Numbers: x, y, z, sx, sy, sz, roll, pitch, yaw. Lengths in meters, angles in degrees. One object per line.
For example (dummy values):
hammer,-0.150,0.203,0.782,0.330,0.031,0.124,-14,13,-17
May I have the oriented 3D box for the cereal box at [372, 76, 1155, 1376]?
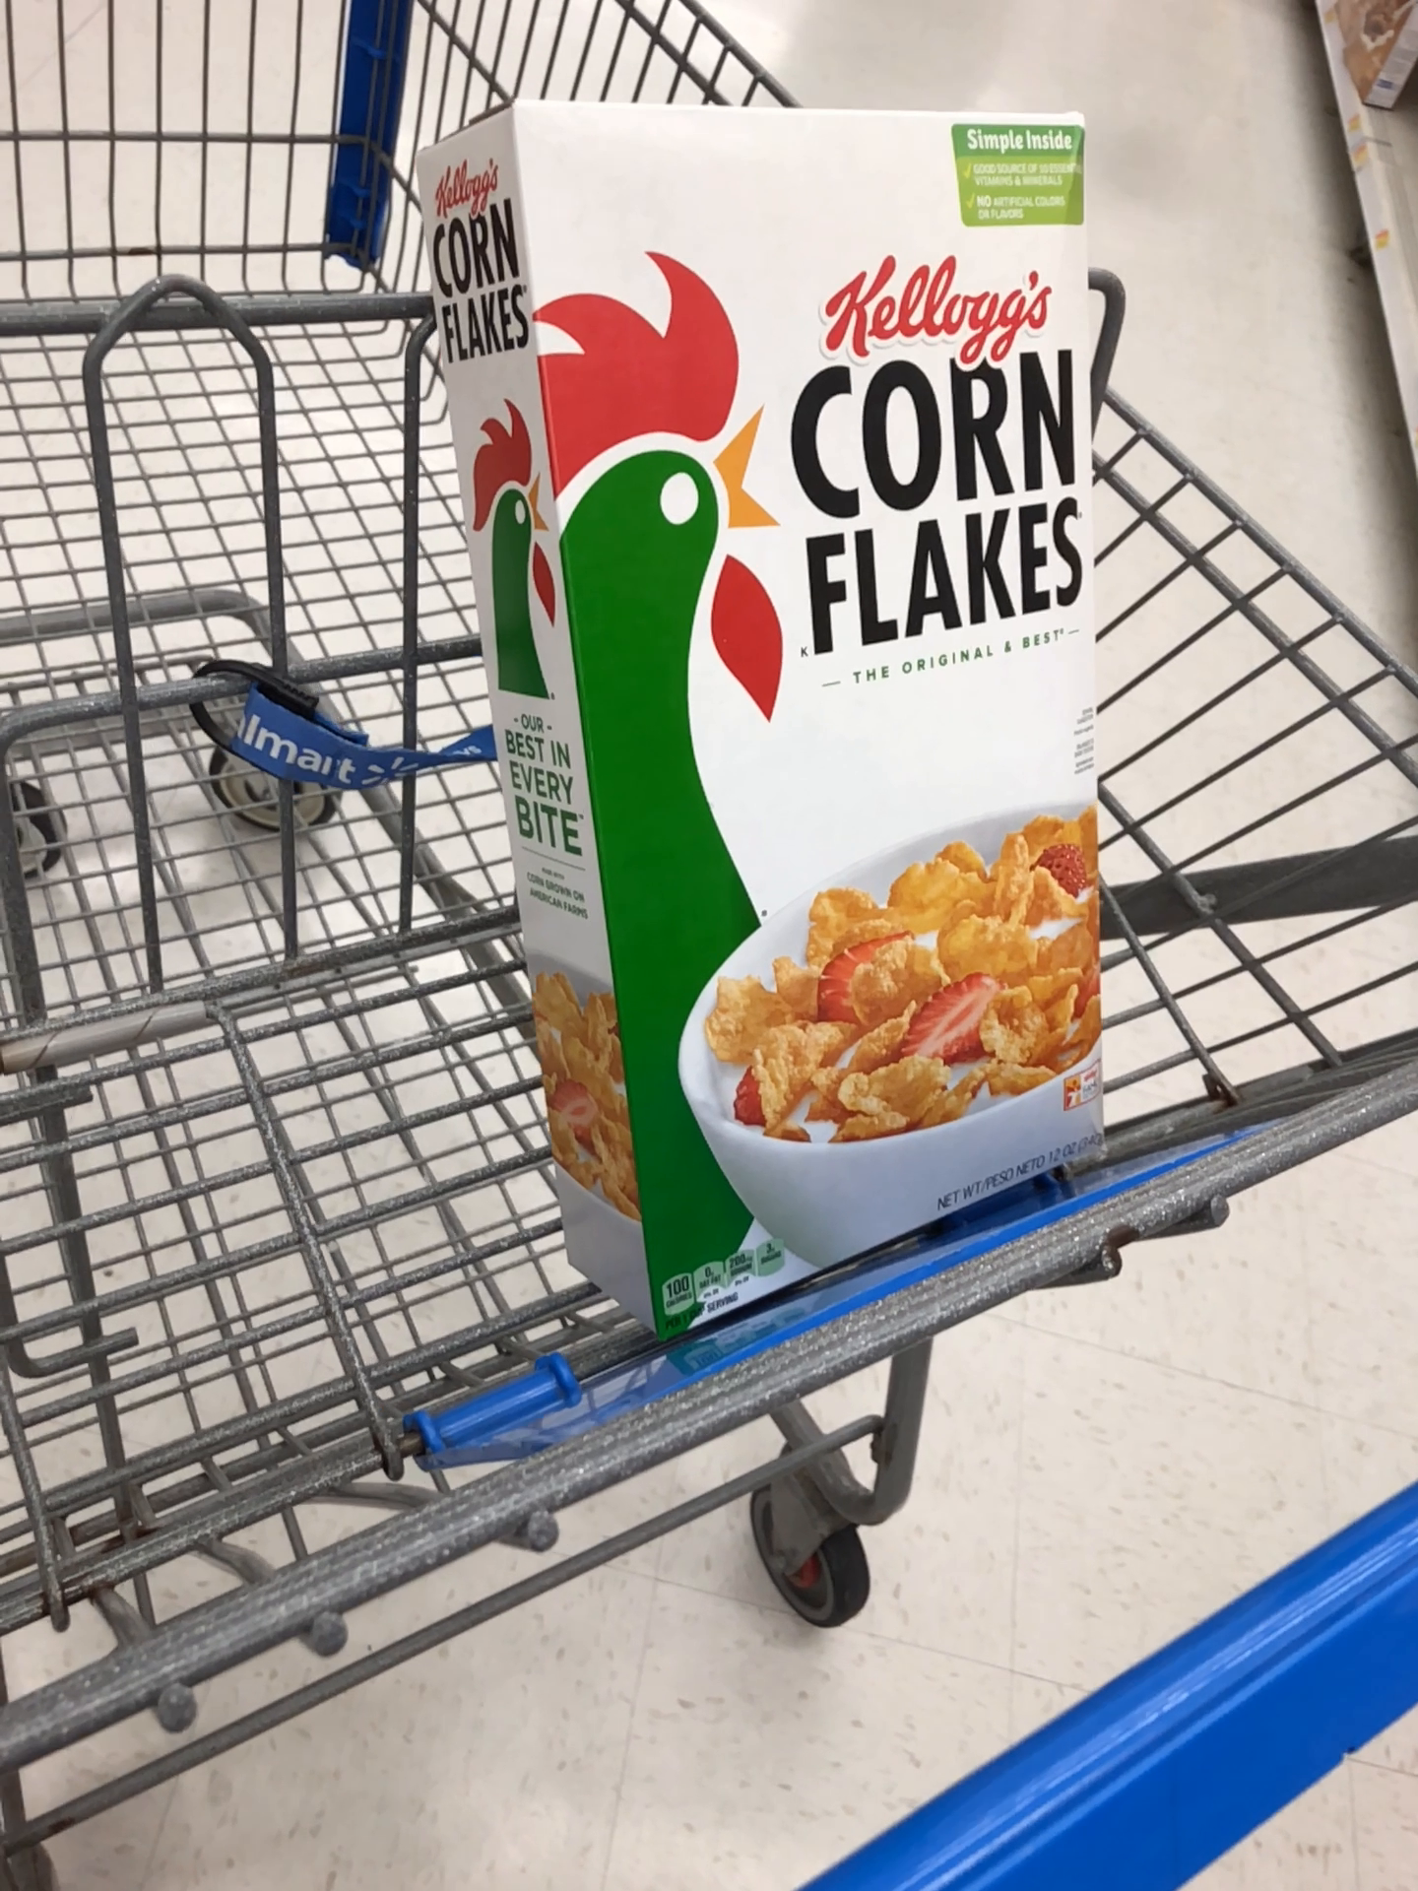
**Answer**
cereal box,0.036,-0.069,0.485,0.210,0.340,0.070,-17,21,-30
